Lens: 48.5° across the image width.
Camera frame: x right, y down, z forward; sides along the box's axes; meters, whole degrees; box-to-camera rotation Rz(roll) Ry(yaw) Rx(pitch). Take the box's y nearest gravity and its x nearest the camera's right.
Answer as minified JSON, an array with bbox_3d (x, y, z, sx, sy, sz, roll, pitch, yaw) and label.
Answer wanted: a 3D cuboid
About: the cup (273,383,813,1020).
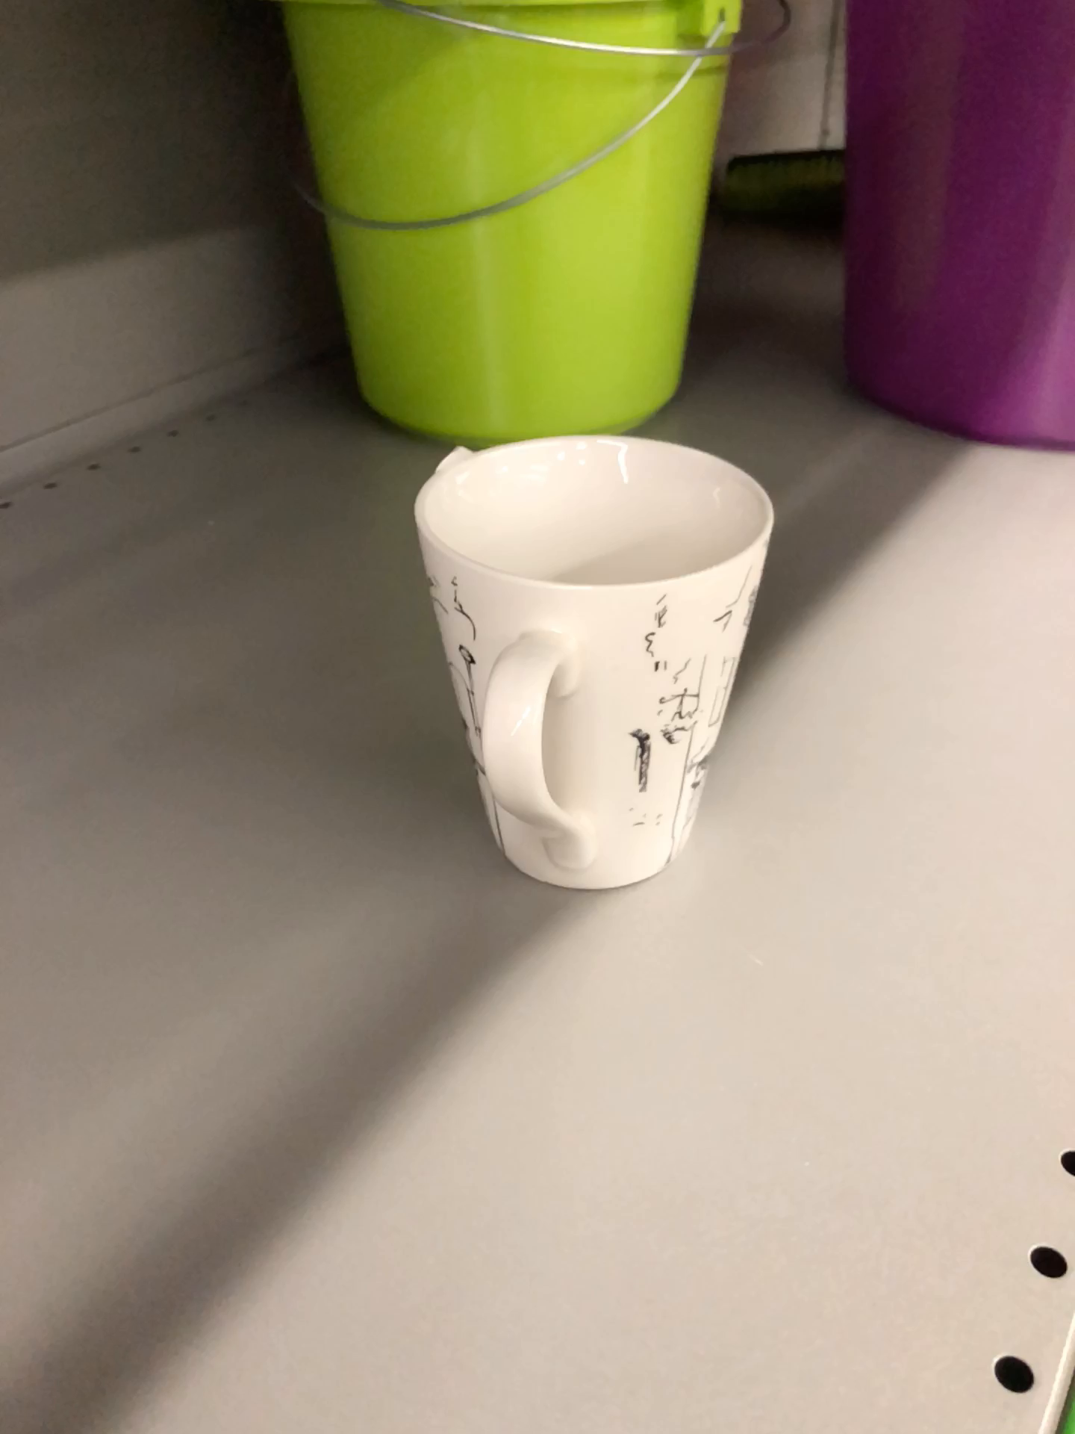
[{"bbox_3d":[0.009,-0.012,0.296,0.091,0.098,0.115,10,36,15],"label":"cup"}]
